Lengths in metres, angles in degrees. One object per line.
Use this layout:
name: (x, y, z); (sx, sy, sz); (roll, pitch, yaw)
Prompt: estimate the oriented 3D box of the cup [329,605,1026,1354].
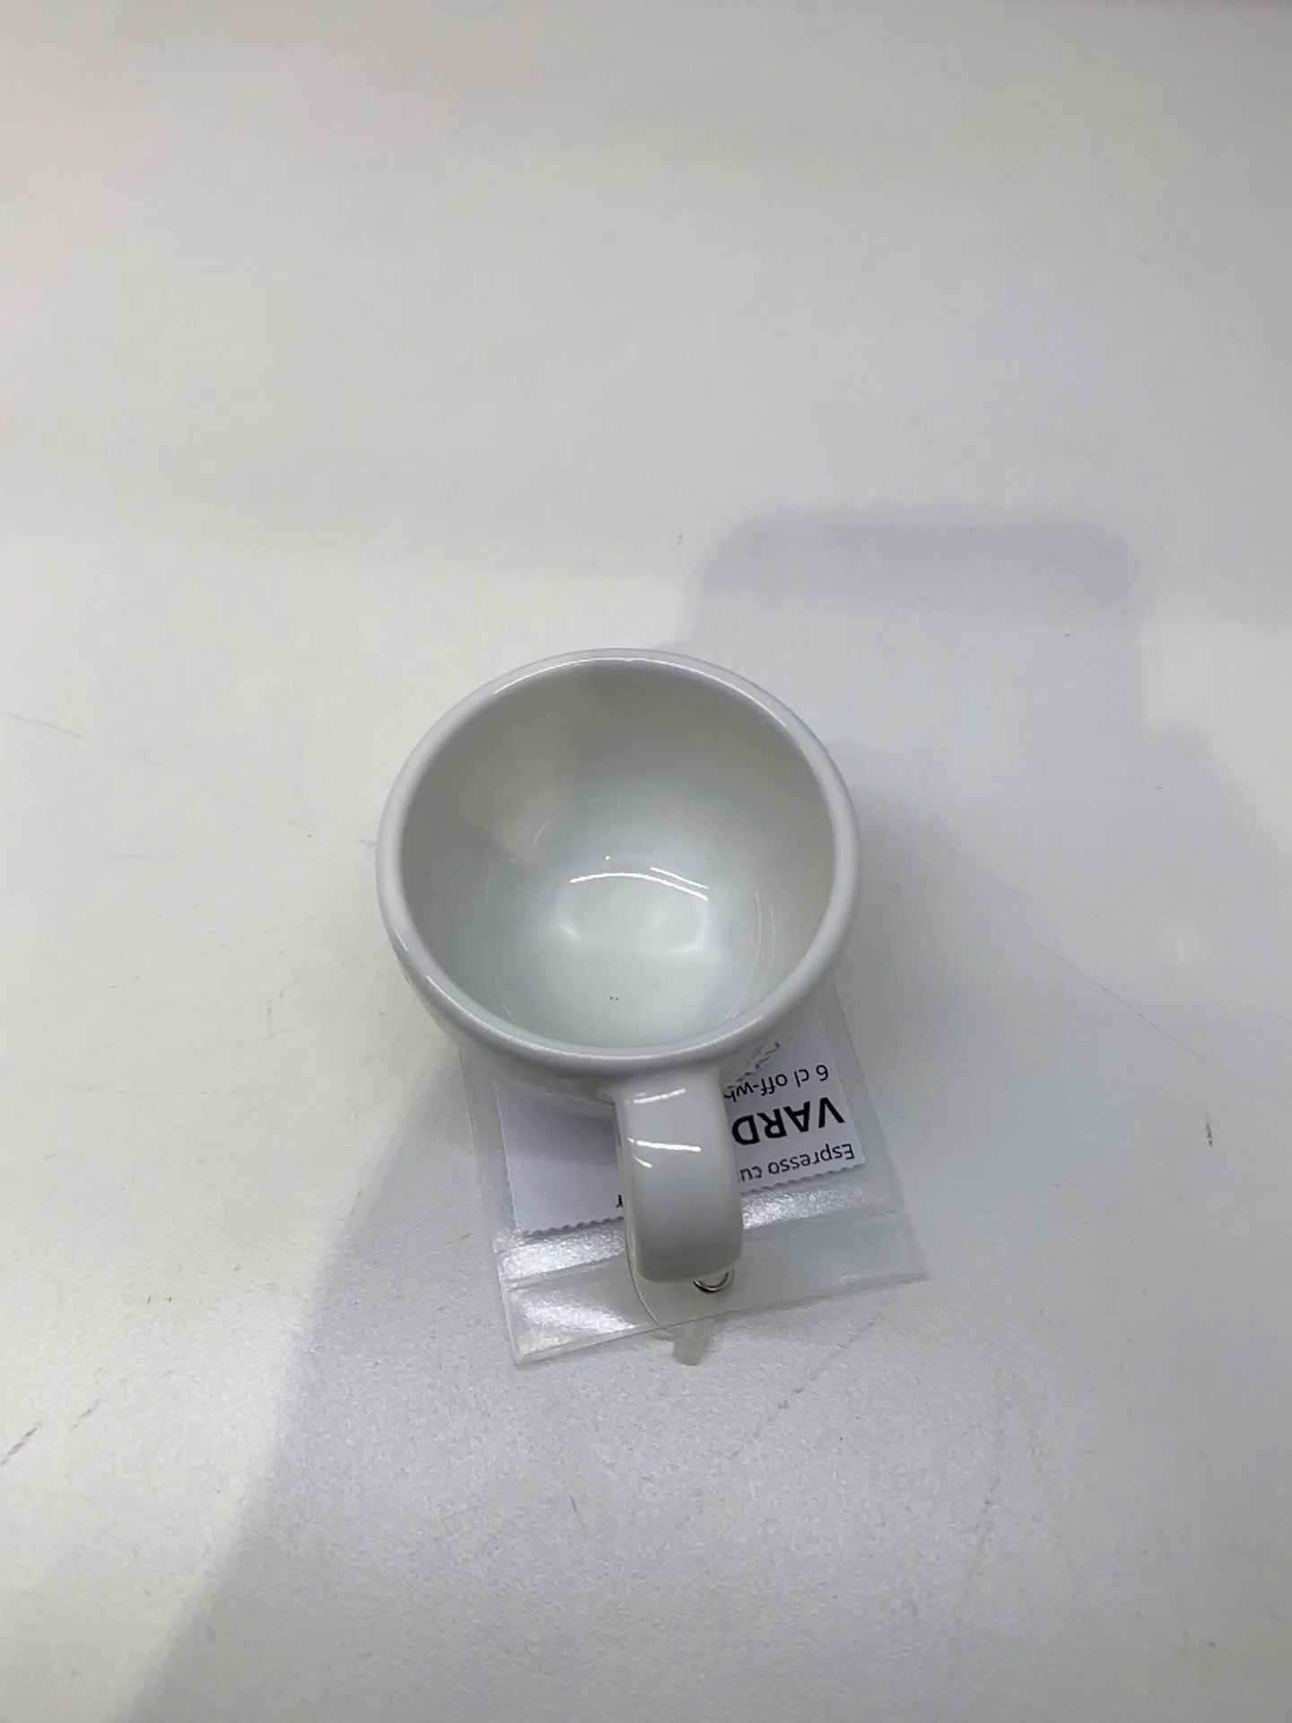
cup: (0.000, 0.014, 0.181); (0.070, 0.040, 0.080); (-10, 61, -5)
